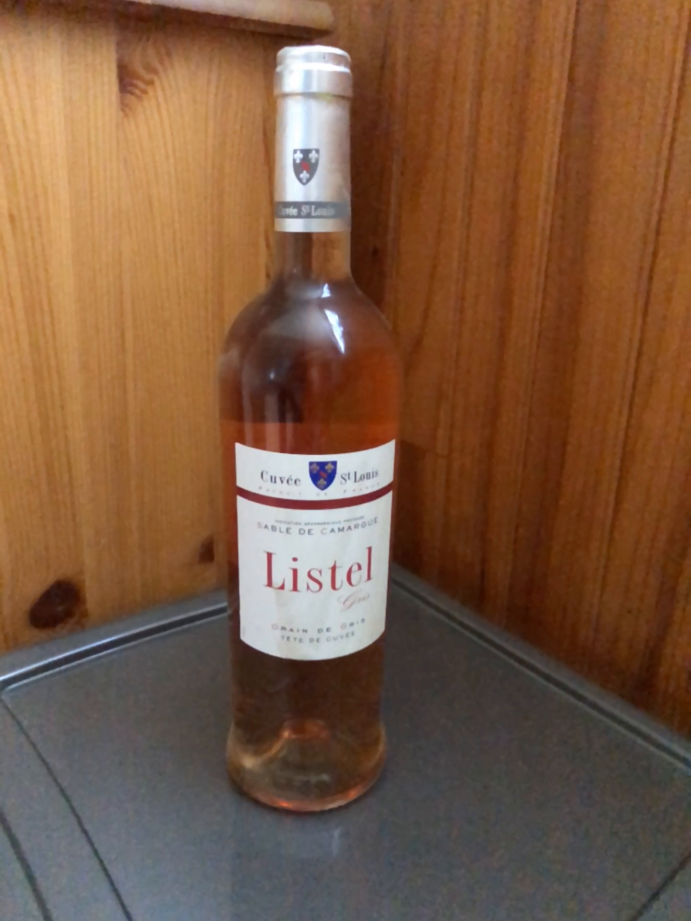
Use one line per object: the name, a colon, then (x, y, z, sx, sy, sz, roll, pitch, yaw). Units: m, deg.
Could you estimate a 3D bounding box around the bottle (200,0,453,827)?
bottle: (-0.016, -0.007, 0.326, 0.080, 0.319, 0.080, 2, 18, -1)
